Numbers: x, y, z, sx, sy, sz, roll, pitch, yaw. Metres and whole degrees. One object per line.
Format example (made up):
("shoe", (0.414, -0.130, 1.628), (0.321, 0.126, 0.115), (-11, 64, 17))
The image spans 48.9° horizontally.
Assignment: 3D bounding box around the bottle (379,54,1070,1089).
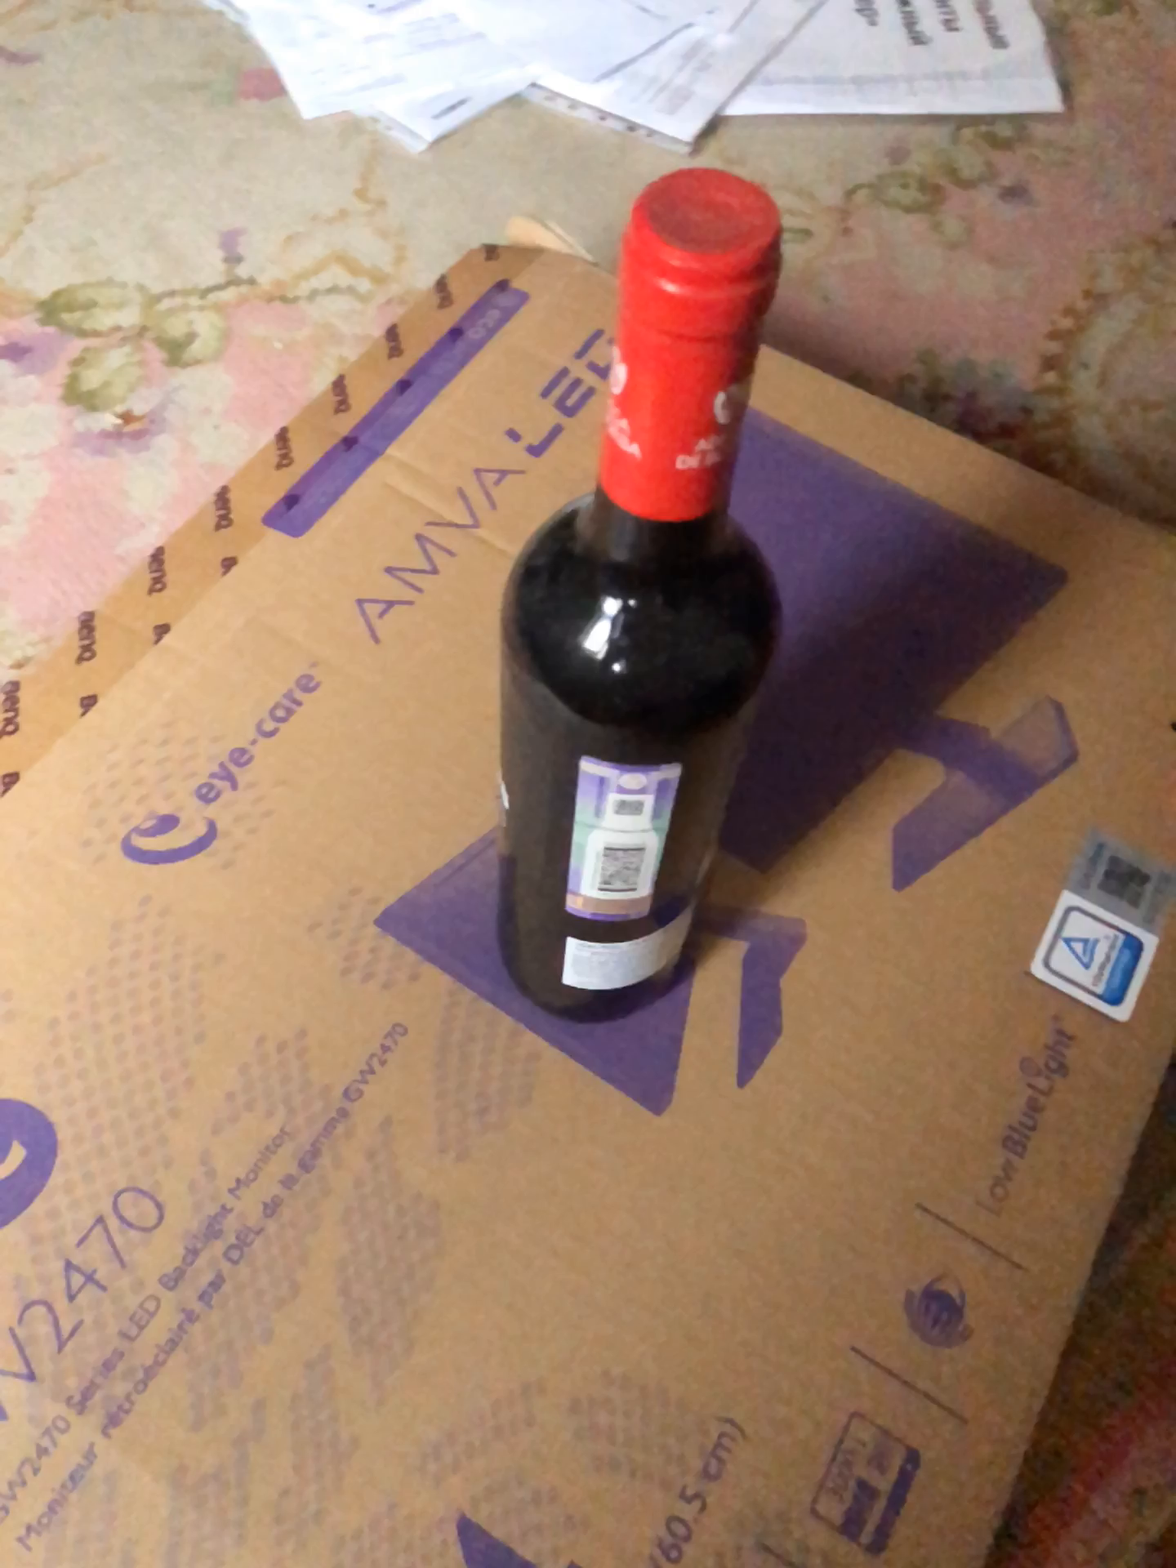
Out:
("bottle", (0.016, -0.018, 0.359), (0.090, 0.299, 0.090), (2, 61, -4))
